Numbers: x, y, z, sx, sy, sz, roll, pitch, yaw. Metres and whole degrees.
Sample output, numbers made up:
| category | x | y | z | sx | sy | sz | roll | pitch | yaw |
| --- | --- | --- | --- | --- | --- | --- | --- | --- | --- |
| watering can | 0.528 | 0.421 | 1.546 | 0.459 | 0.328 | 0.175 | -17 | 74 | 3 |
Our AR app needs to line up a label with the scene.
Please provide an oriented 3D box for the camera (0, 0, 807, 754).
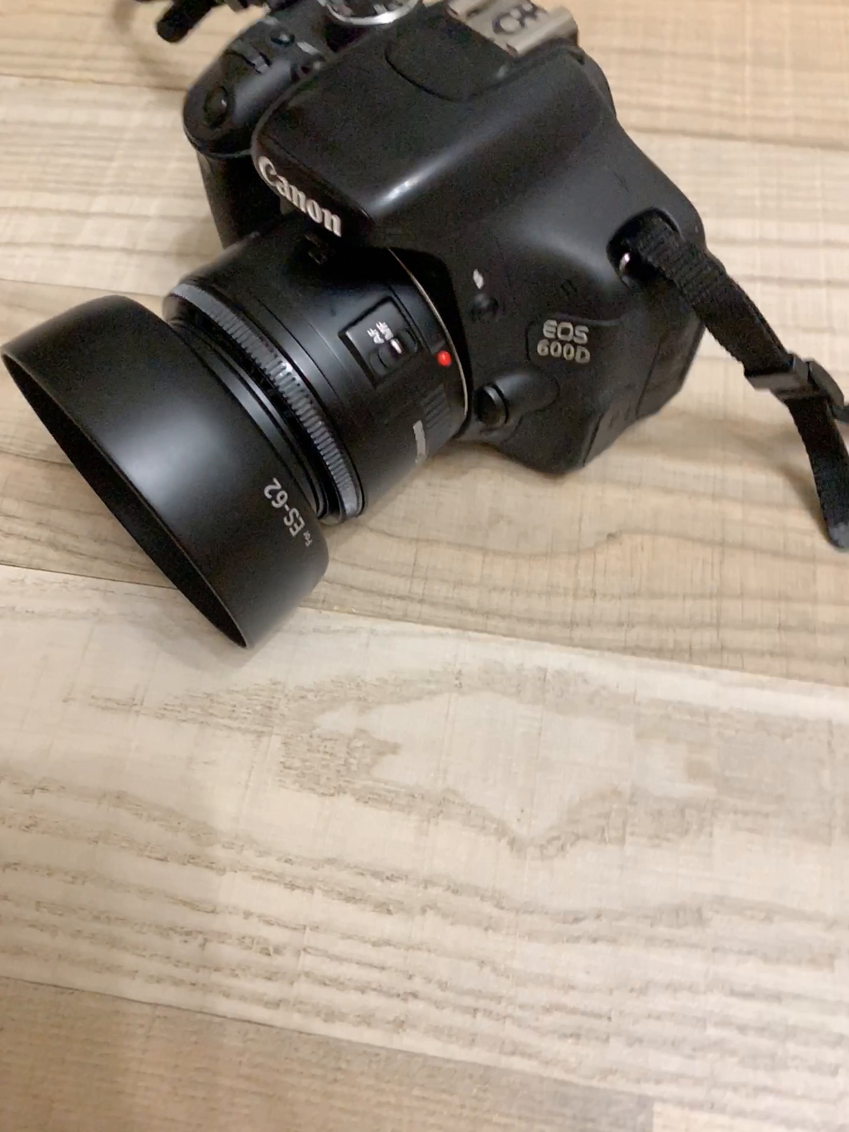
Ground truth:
| category | x | y | z | sx | sy | sz | roll | pitch | yaw |
| --- | --- | --- | --- | --- | --- | --- | --- | --- | --- |
| camera | -0.028 | -0.067 | 0.212 | 0.150 | 0.090 | 0.139 | -40 | 70 | -16 |
